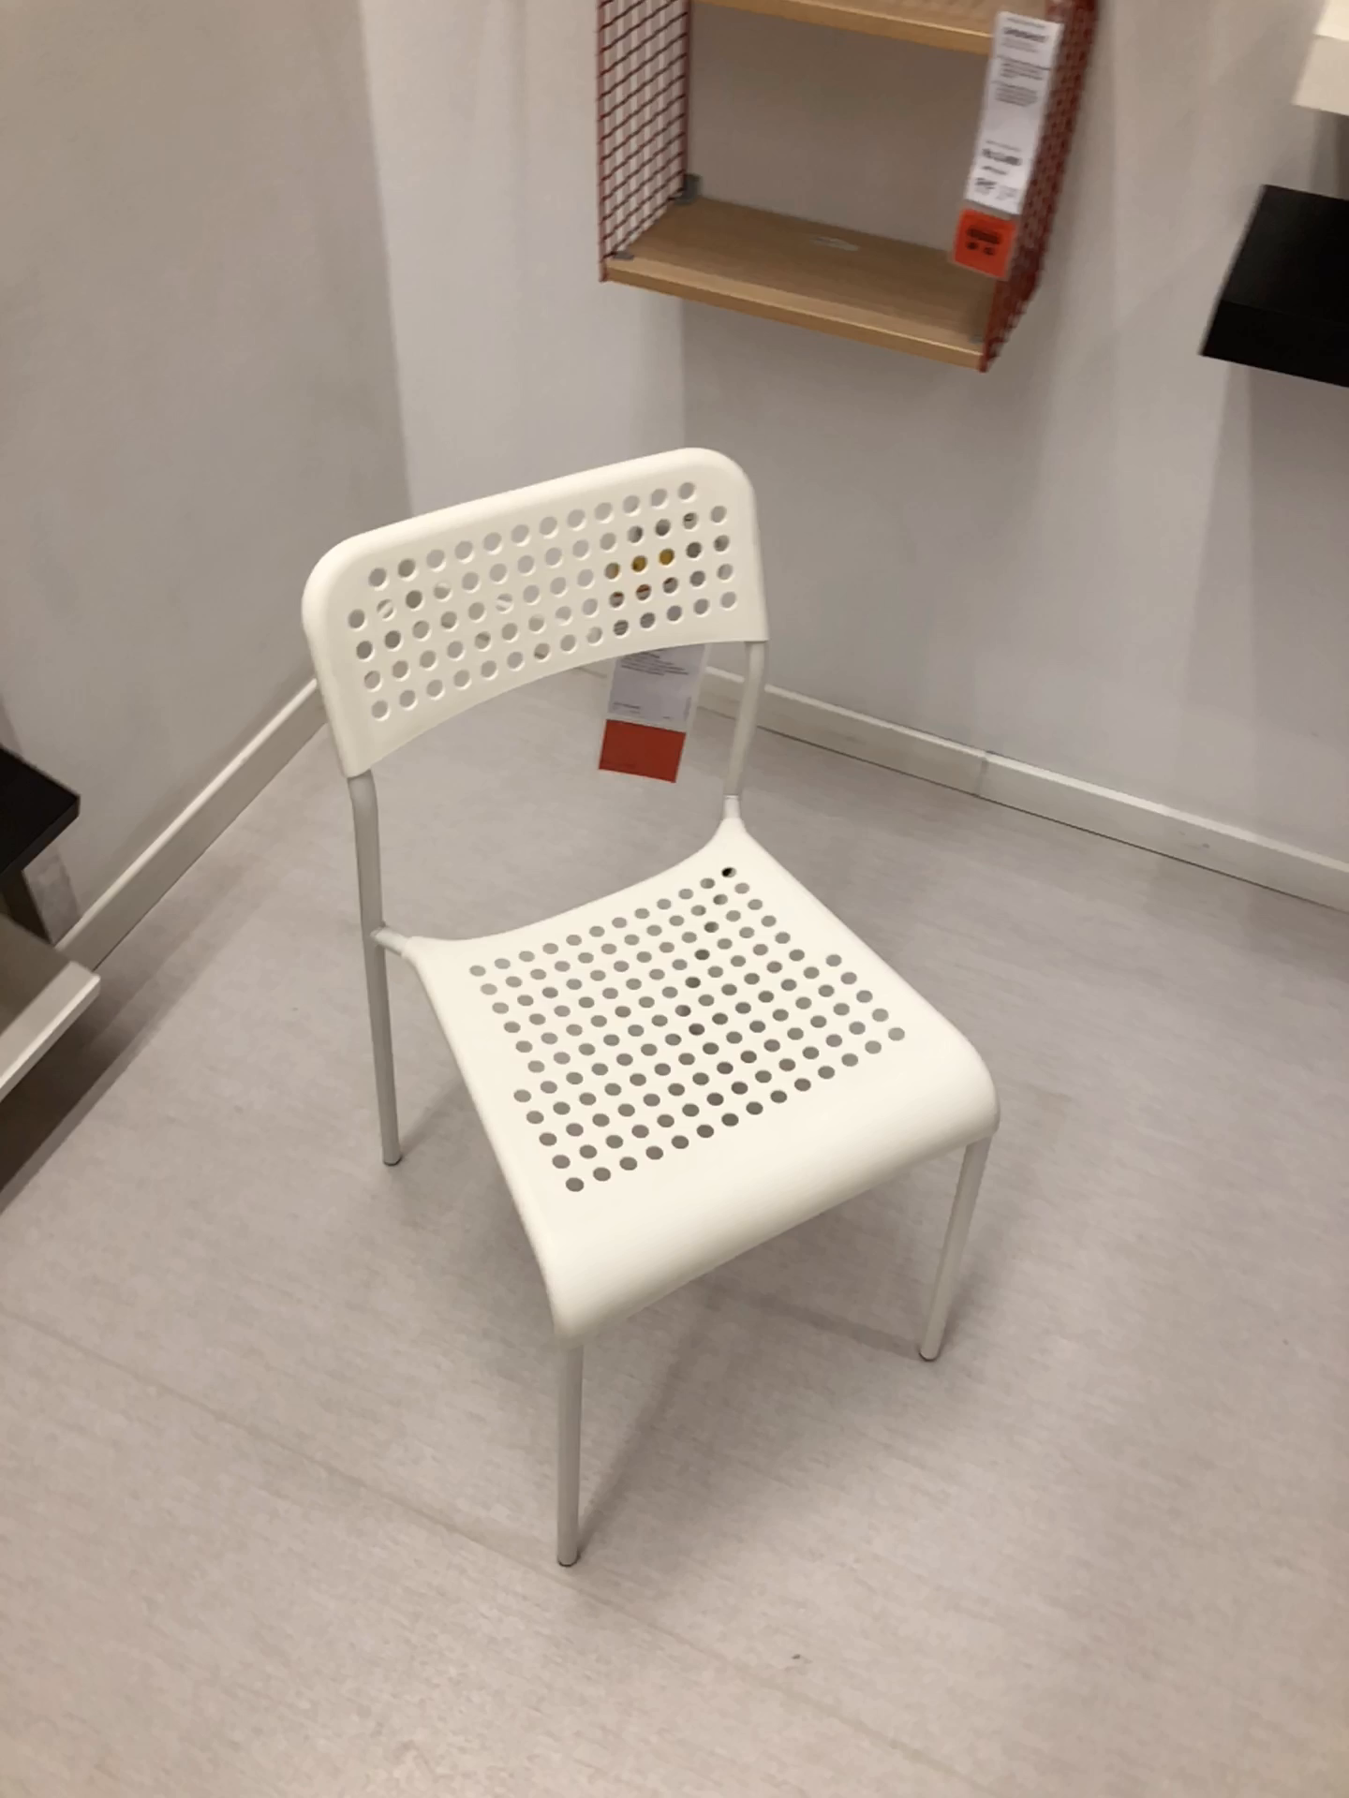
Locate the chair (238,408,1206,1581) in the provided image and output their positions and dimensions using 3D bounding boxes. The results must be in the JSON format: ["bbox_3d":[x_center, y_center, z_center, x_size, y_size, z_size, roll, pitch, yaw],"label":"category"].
[{"bbox_3d":[-0.006,0.100,1.183,0.421,0.735,0.472,-21,52,-21],"label":"chair"}]
